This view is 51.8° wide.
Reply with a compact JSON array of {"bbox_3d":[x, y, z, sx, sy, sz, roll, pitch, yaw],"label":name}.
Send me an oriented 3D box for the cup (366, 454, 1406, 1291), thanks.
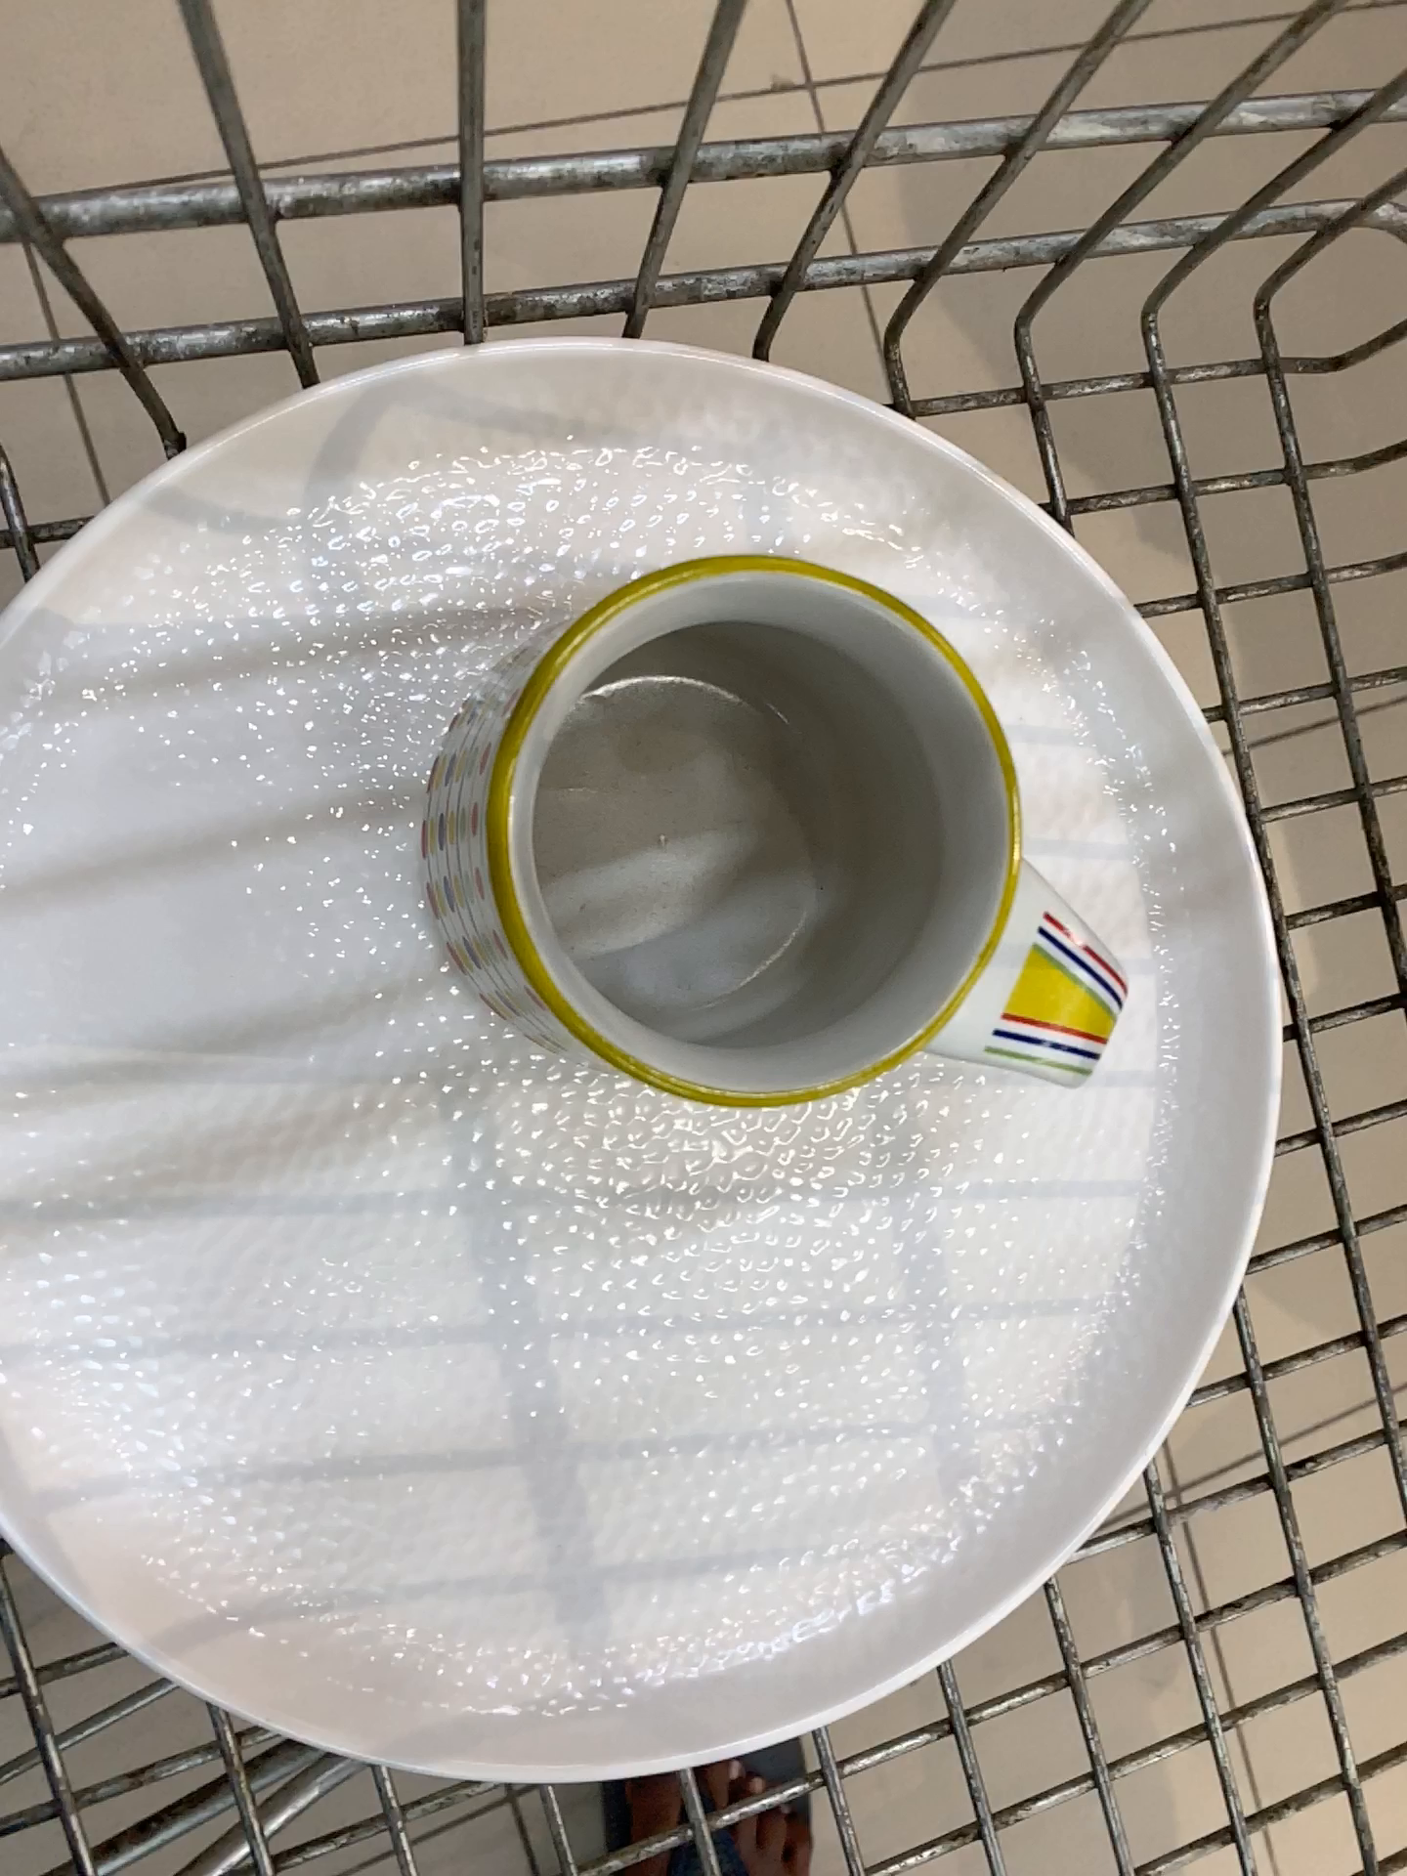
[{"bbox_3d":[0.018,-0.004,0.216,0.120,0.100,0.080,8,89,-15],"label":"cup"}]
